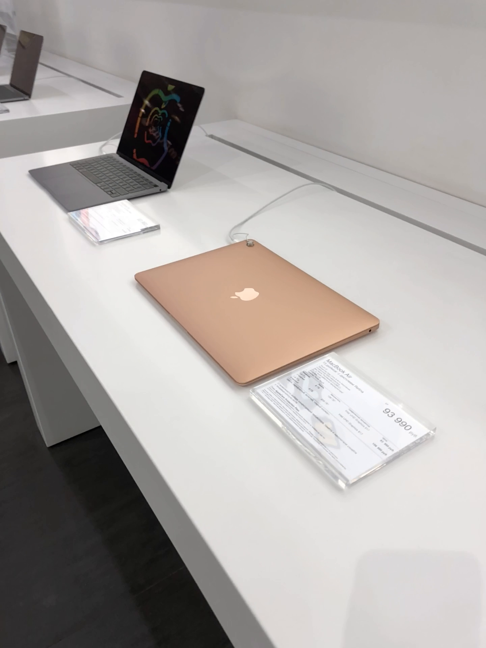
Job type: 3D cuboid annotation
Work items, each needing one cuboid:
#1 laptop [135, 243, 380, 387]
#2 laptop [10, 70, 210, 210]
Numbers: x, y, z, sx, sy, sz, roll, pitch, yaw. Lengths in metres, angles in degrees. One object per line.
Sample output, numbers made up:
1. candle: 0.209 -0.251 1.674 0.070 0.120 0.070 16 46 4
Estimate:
1. laptop: 0.005 -0.032 0.723 0.201 0.005 0.294 -21 37 -25
2. laptop: -0.285 -0.413 1.147 0.312 0.180 0.304 -21 37 -25
